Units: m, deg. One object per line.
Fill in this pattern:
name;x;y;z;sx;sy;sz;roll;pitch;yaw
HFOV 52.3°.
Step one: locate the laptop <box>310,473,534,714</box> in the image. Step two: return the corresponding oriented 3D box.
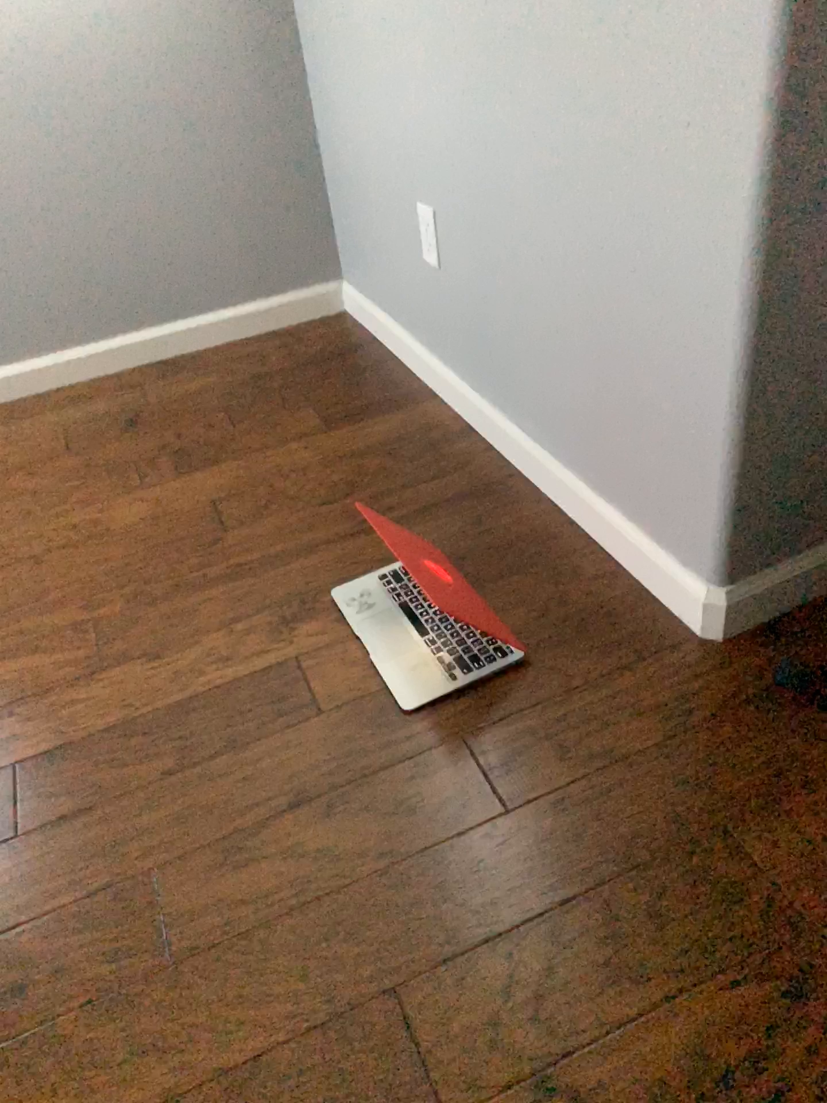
laptop;0.006;0.046;1.211;0.198;0.139;0.303;-21;38;-15
